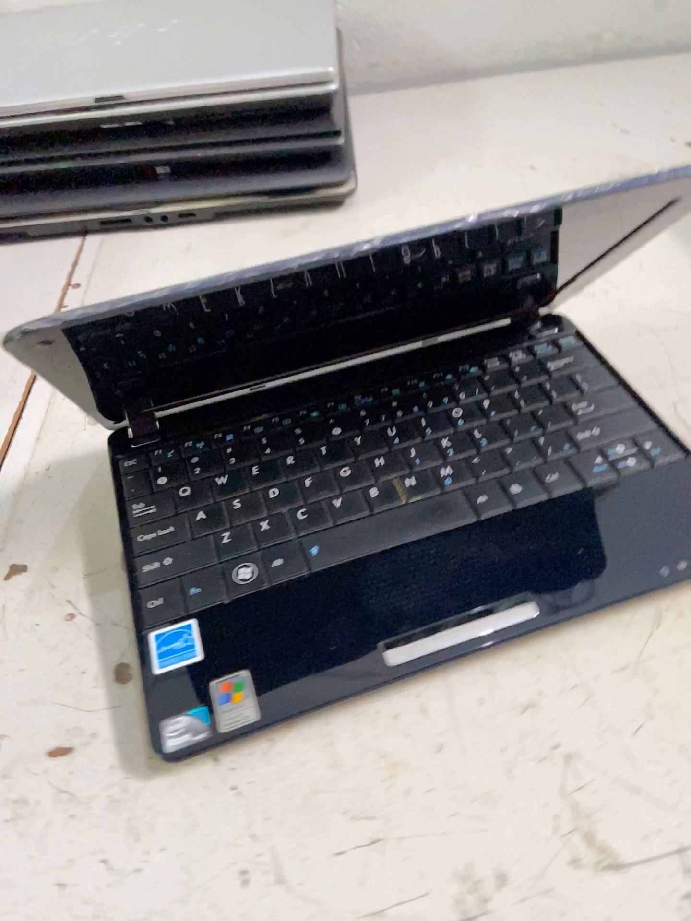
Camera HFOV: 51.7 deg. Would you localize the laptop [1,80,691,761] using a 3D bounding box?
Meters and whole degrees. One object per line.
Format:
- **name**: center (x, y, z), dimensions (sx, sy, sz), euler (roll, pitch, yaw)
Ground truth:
- **laptop**: center (0.022, -0.034, 0.287), dimensions (0.259, 0.121, 0.170), euler (-17, 48, -11)
